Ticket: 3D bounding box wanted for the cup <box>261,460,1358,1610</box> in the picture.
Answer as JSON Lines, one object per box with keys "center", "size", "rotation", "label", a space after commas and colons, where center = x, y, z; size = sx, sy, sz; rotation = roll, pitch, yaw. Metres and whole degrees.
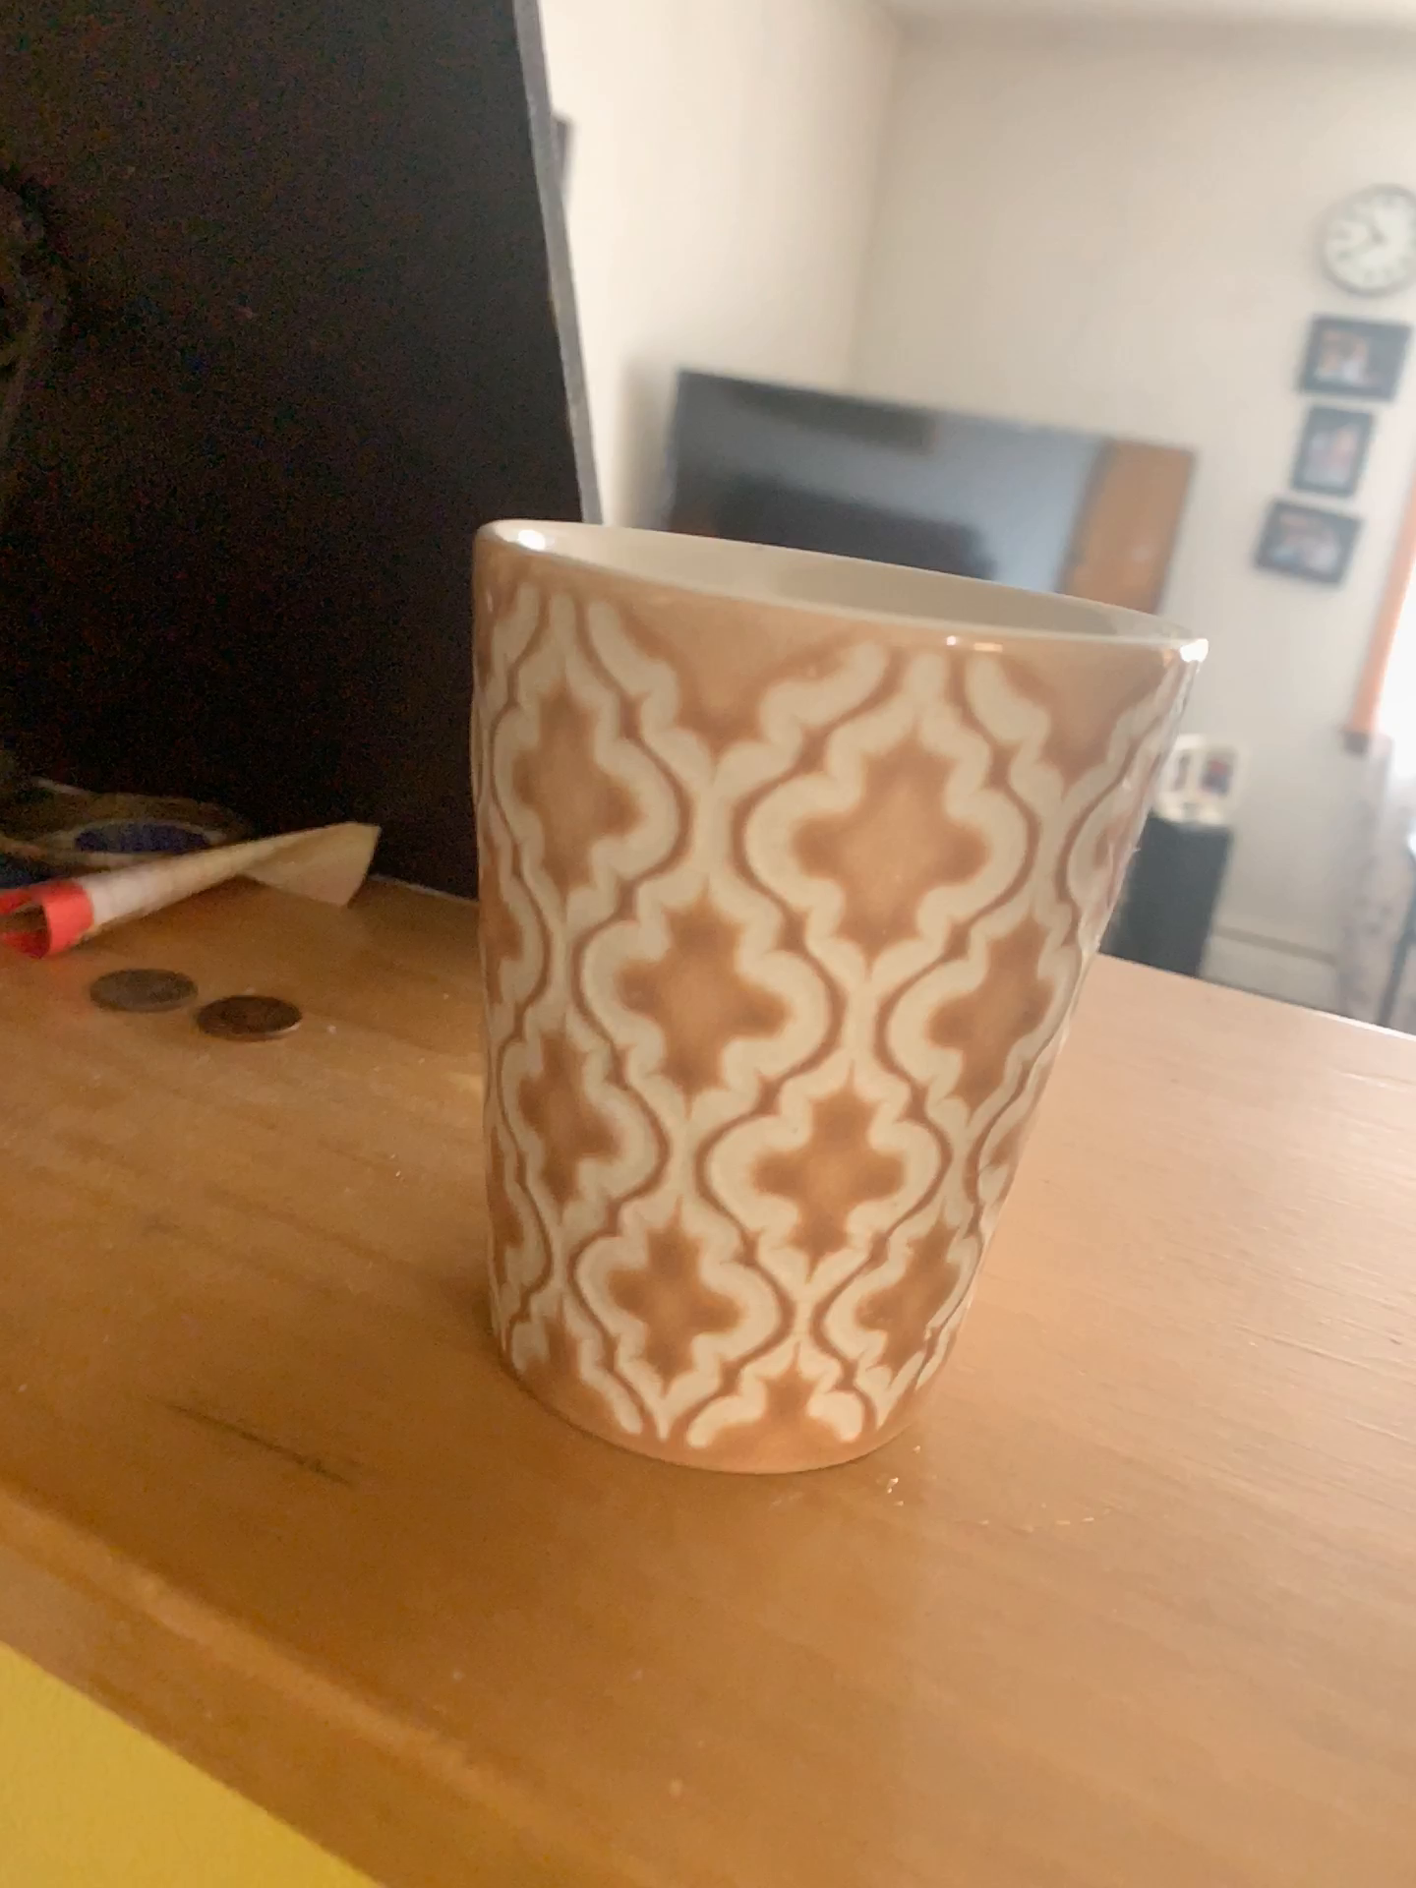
{"center": [0.001, -0.003, 0.215], "size": [0.090, 0.109, 0.120], "rotation": [-6, 23, -34], "label": "cup"}
